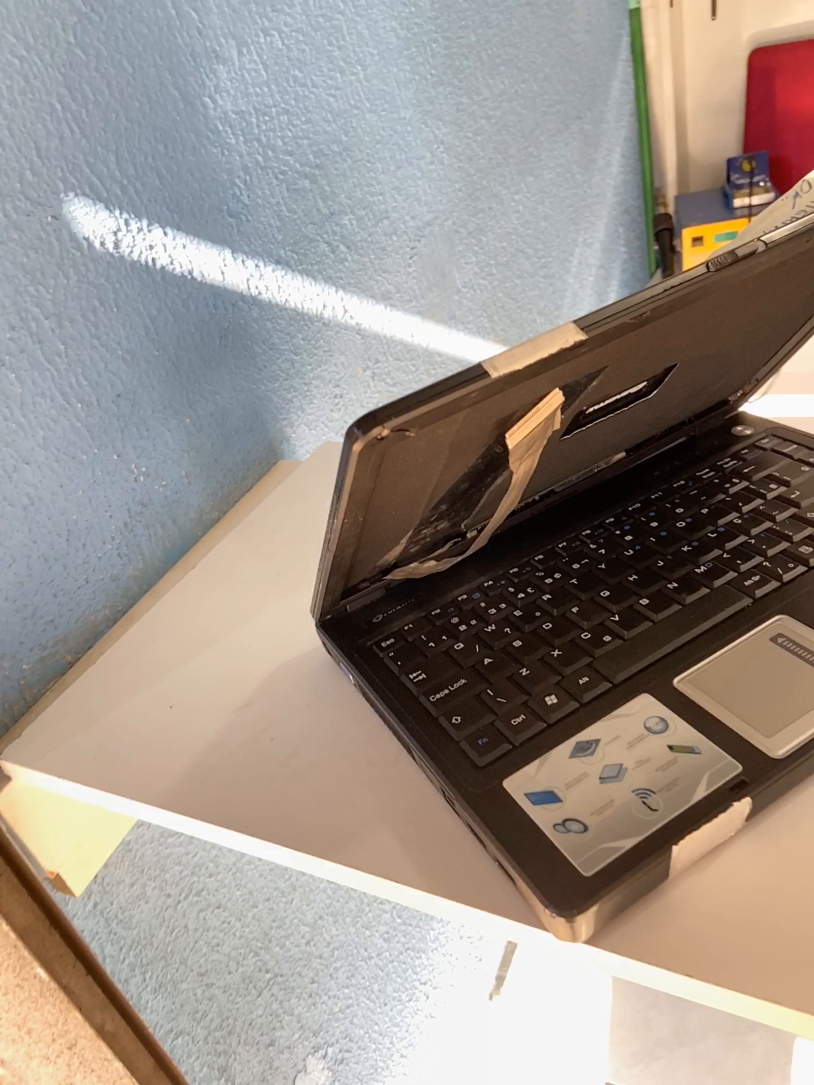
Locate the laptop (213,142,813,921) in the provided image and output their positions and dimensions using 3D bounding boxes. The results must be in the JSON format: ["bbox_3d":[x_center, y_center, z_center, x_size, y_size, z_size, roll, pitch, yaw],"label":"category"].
[{"bbox_3d":[0.122,-0.050,0.394,0.329,0.175,0.225,-26,33,-18],"label":"laptop"}]
